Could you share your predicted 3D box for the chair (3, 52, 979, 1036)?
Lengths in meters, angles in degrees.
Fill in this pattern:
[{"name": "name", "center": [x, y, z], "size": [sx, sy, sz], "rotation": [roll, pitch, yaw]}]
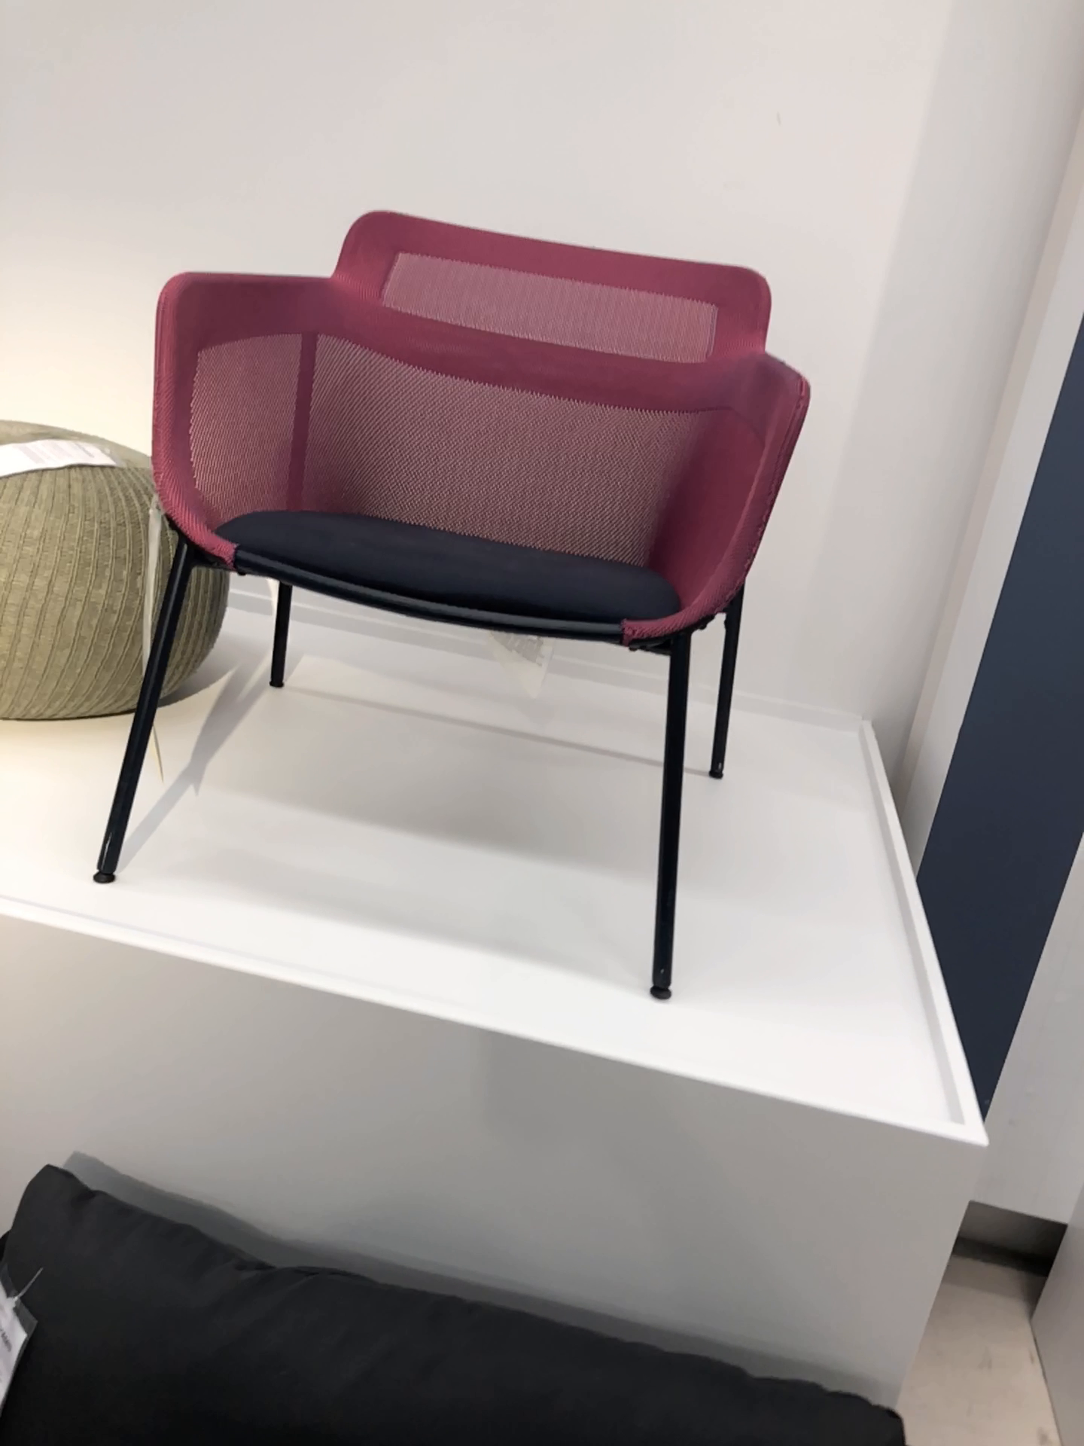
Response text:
[{"name": "chair", "center": [-0.039, -0.285, 1.534], "size": [0.780, 0.747, 1.014], "rotation": [11, 20, 4]}]
